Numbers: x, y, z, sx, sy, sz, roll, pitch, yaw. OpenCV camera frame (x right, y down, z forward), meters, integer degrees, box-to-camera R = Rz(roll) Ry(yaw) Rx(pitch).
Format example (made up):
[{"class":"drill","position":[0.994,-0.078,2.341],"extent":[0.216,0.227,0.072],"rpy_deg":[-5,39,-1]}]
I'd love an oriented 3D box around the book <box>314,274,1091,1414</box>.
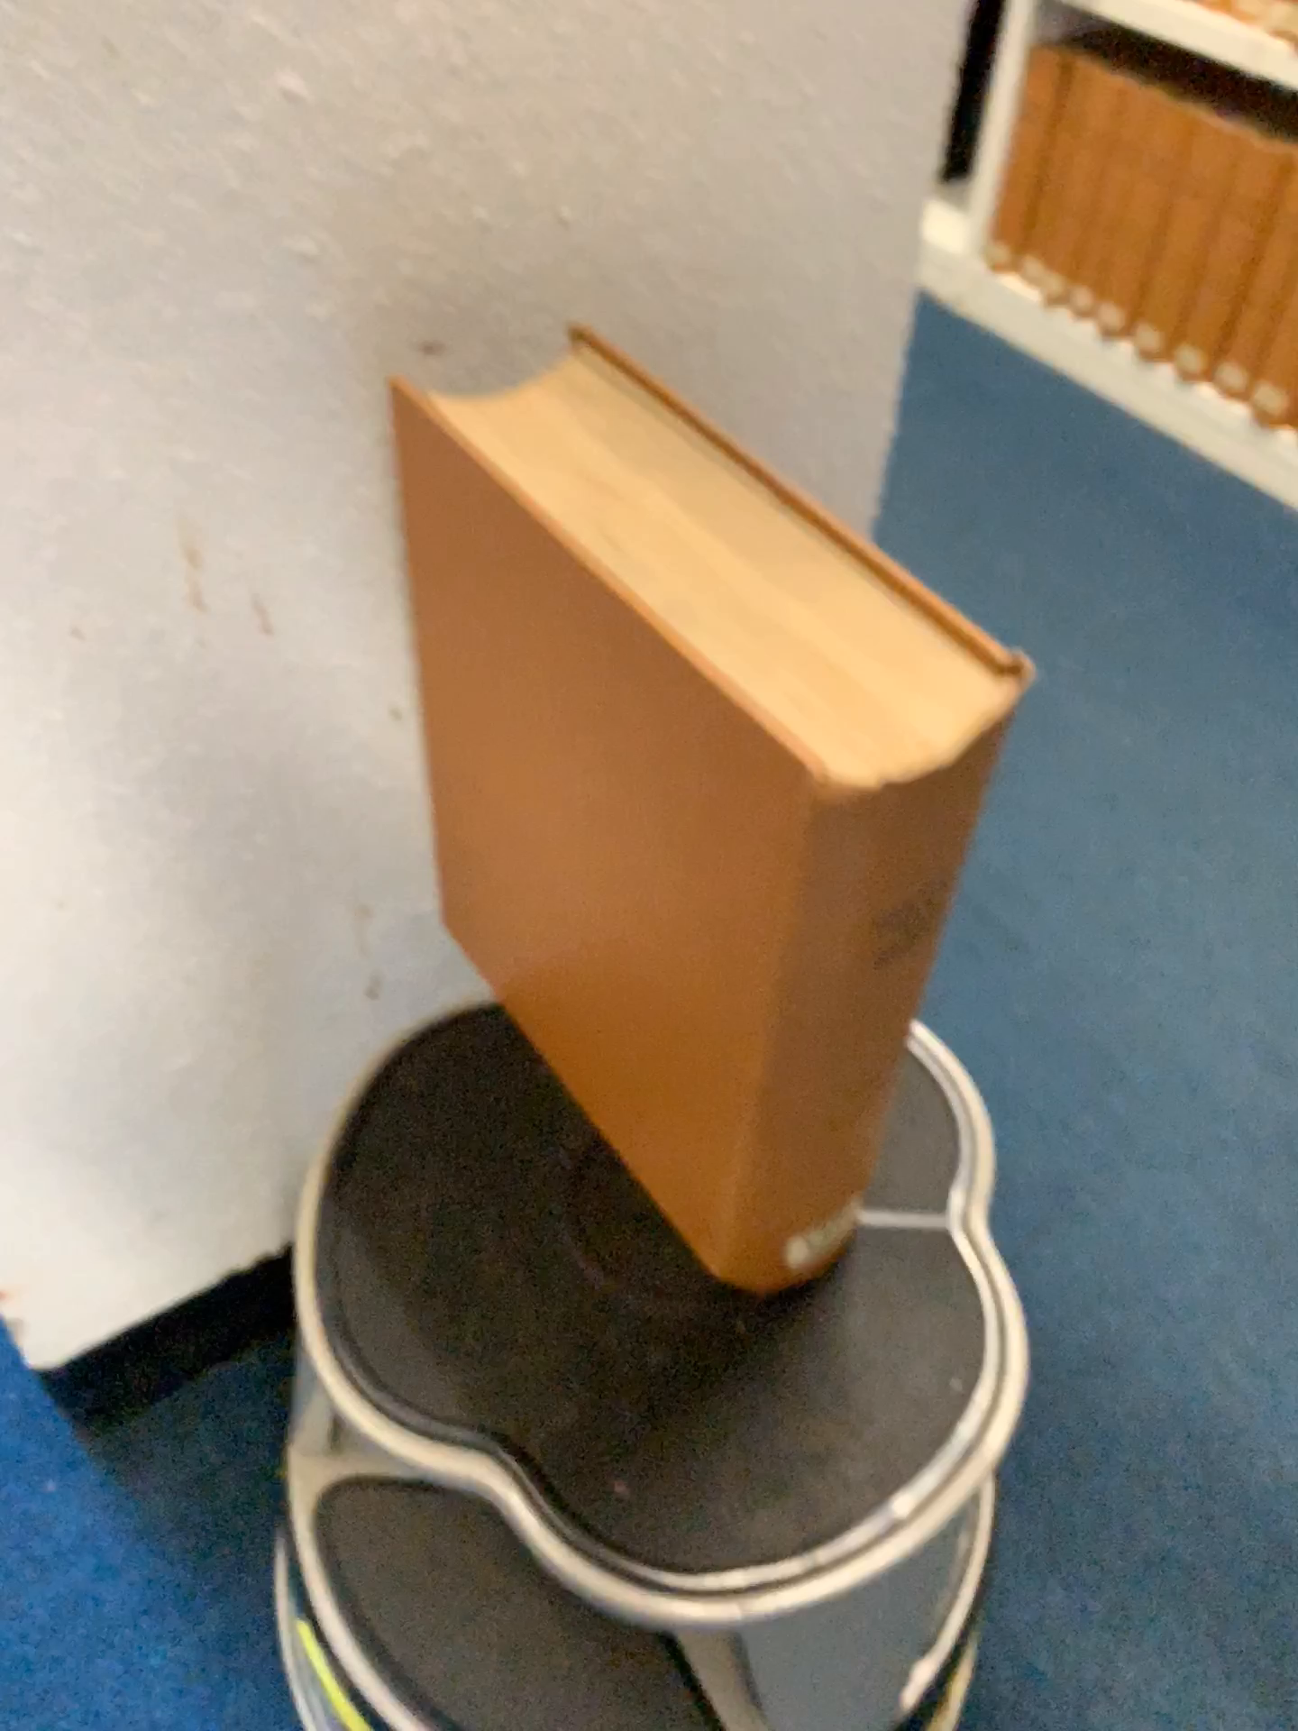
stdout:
[{"class":"book","position":[-0.005,0.010,0.481],"extent":[0.090,0.337,0.221],"rpy_deg":[-27,53,-26]}]
